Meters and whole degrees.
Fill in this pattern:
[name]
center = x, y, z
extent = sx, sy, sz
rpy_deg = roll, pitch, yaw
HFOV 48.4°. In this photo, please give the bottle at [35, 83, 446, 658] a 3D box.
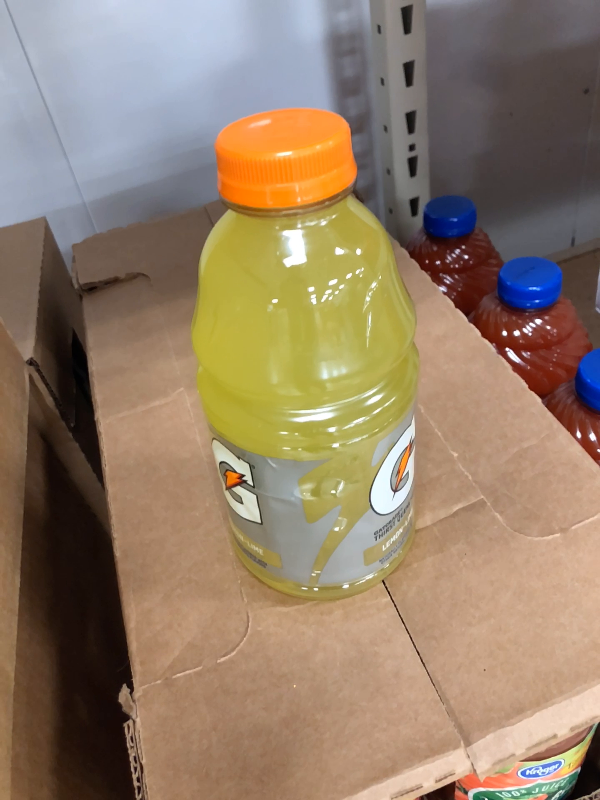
[bottle]
center = -0.005, -0.004, 0.285
extent = 0.090, 0.210, 0.100
rpy_deg = 25, 53, 33
